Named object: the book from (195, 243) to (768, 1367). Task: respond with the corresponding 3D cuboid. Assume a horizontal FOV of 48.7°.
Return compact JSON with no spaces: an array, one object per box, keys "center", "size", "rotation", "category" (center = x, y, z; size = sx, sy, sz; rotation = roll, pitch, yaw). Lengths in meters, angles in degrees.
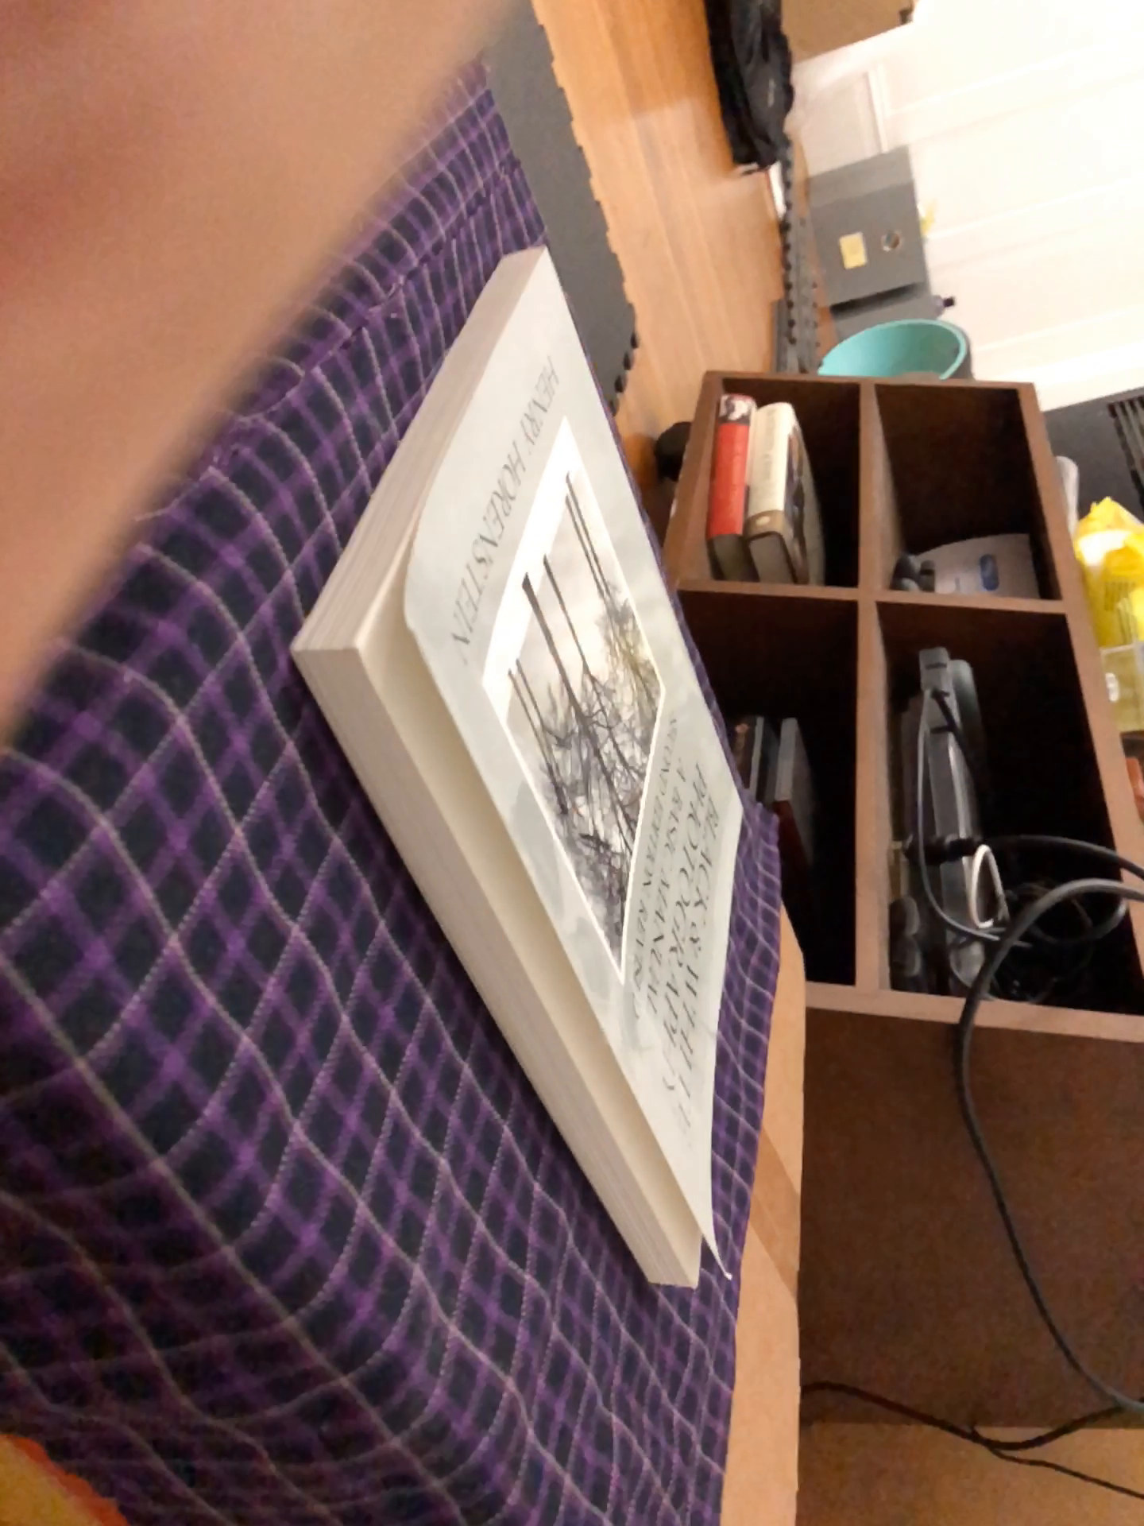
[{"center":[0.007,0.012,0.367],"size":[0.211,0.030,0.250],"rotation":[-76,150,-48],"category":"book"}]
